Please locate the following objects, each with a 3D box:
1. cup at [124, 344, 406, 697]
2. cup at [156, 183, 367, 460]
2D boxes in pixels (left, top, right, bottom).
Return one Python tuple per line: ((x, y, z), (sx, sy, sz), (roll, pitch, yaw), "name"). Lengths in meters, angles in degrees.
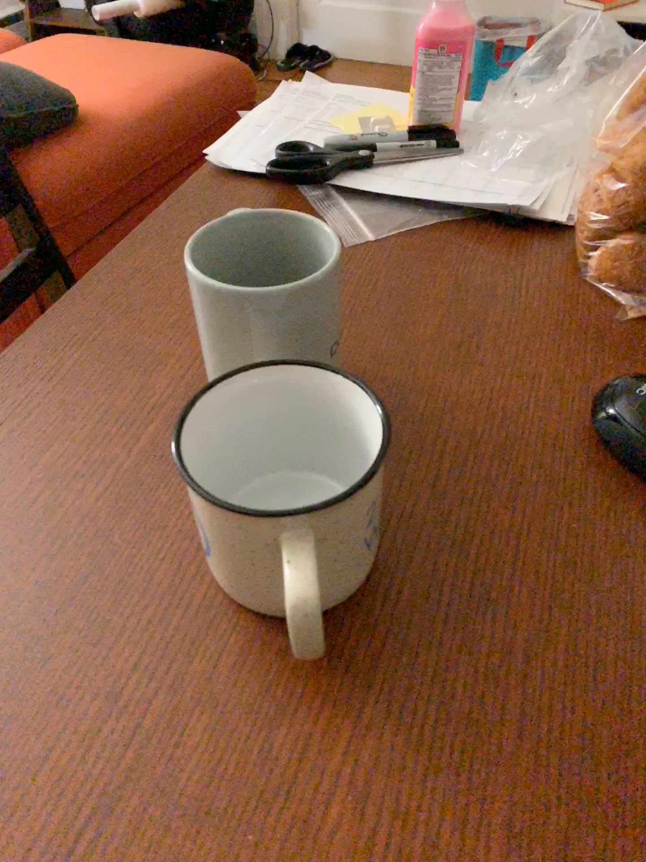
((-0.017, 0.039, 0.315), (0.100, 0.099, 0.131), (1, 45, 2), "cup")
((-0.026, -0.068, 0.397), (0.100, 0.099, 0.141), (0, 45, 2), "cup")
